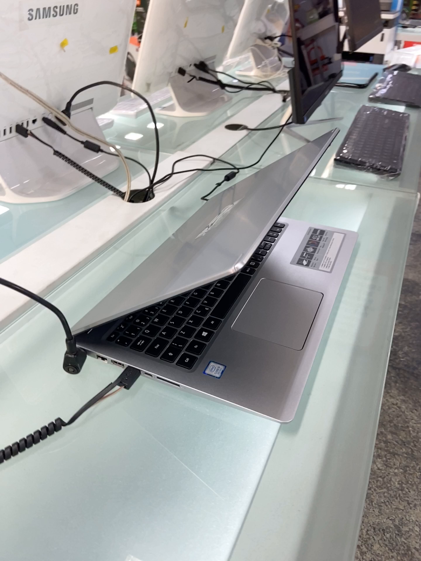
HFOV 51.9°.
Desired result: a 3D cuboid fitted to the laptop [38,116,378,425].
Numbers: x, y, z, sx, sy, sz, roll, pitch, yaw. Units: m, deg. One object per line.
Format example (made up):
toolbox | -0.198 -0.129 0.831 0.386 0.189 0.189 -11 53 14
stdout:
laptop | 0.035 -0.061 0.496 0.236 0.138 0.362 14 37 19
